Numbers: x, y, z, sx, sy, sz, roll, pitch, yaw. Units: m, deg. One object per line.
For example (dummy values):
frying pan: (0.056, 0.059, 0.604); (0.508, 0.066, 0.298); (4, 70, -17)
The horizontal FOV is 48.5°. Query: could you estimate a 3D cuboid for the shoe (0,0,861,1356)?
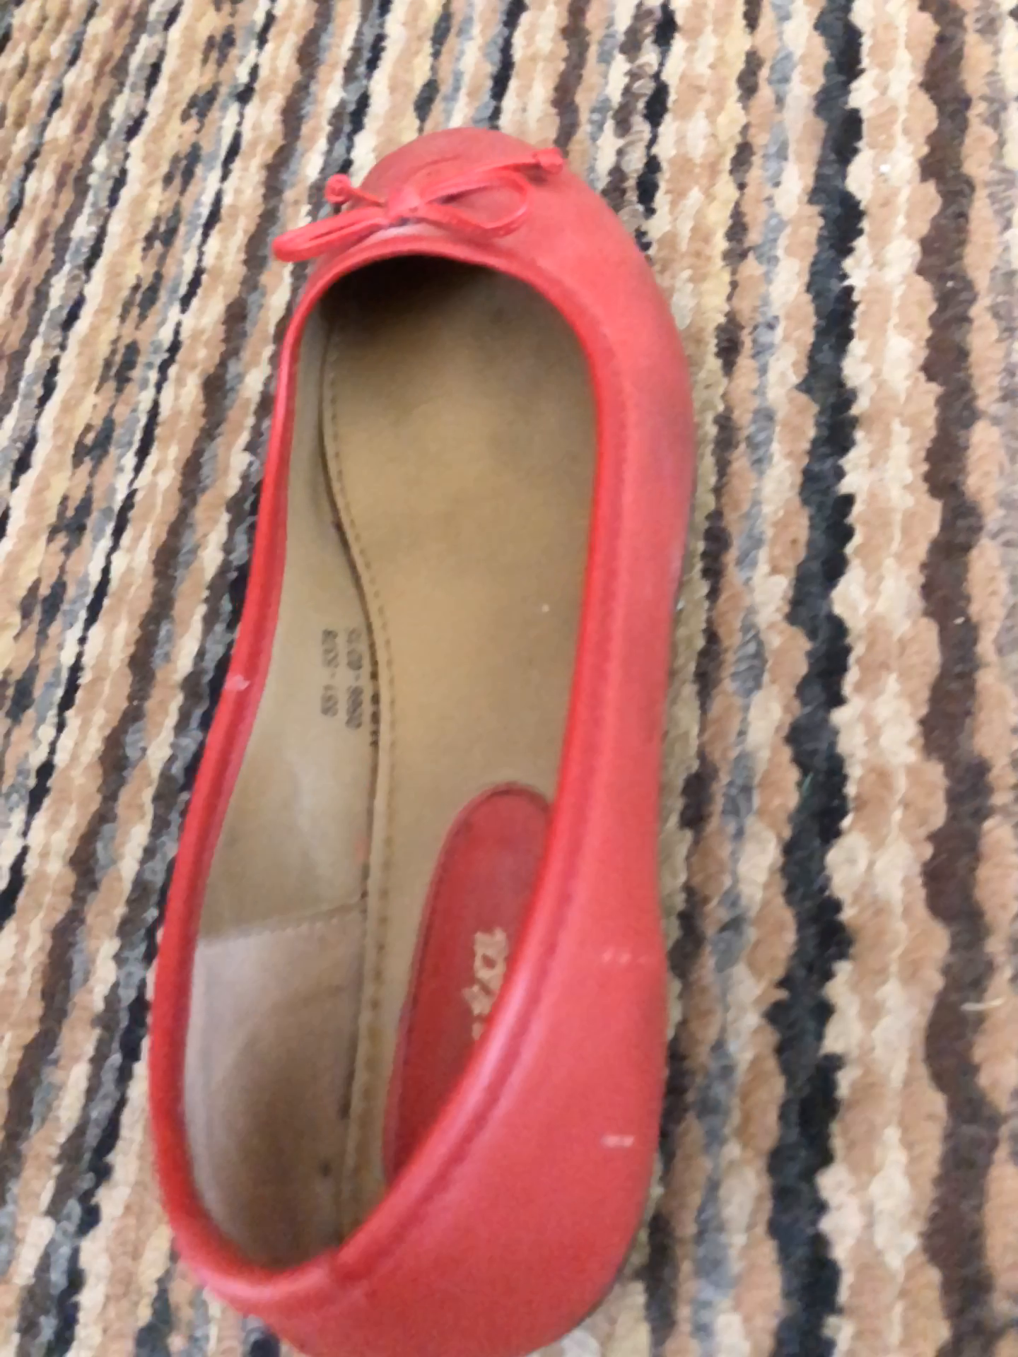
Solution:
shoe: (-0.008, -0.023, 0.220); (0.100, 0.110, 0.270); (-10, 63, 21)
